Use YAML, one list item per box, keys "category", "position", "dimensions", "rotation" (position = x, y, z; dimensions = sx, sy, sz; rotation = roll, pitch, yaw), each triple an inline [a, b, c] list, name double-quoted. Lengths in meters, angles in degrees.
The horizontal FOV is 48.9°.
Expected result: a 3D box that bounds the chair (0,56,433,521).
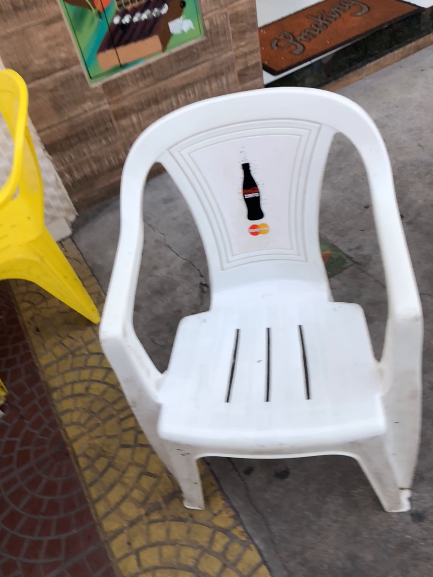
- category: "chair"
  position: [0.083, 0.061, 0.990]
  dimensions: [0.640, 0.746, 0.553]
  rotation: [-4, 47, 11]
